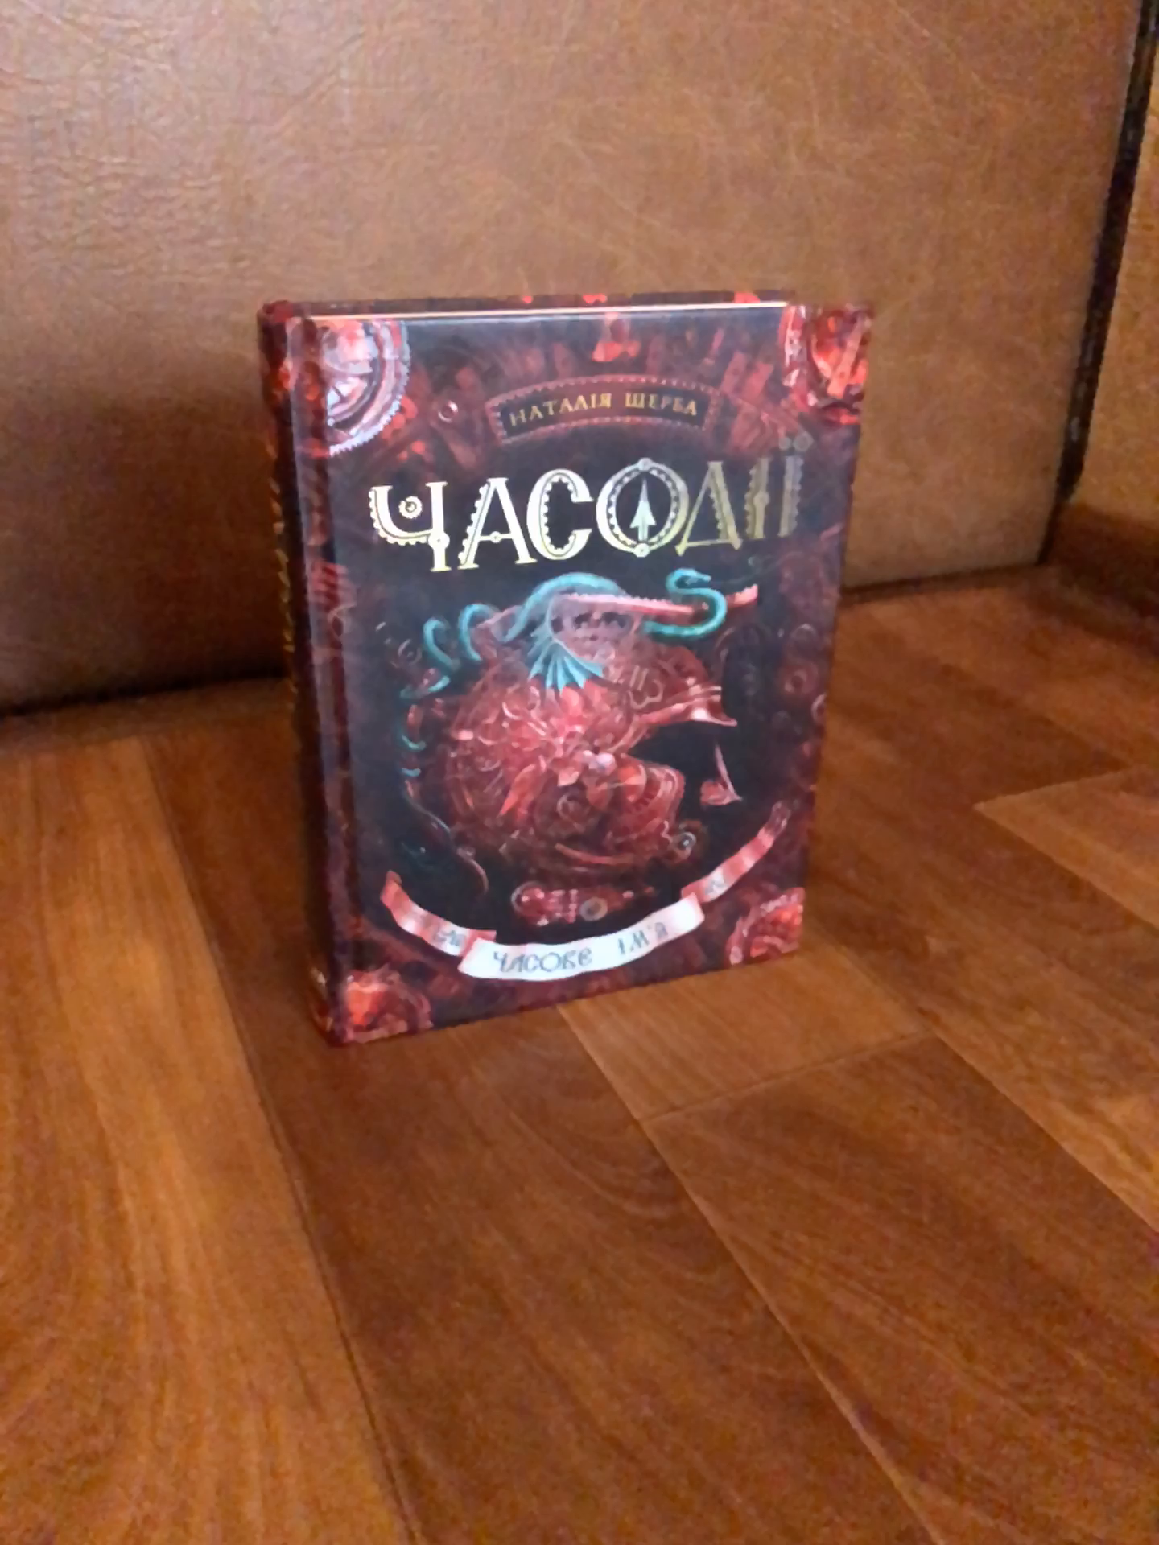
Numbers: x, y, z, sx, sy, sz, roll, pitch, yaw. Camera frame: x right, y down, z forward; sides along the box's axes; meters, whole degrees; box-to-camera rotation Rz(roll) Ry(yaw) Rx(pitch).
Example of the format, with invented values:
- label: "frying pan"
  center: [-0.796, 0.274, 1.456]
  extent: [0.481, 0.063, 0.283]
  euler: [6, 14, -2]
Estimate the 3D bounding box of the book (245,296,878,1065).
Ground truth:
- label: "book"
  center: [-0.004, -0.028, 0.398]
  extent: [0.170, 0.220, 0.040]
  euler: [-9, 28, -20]
